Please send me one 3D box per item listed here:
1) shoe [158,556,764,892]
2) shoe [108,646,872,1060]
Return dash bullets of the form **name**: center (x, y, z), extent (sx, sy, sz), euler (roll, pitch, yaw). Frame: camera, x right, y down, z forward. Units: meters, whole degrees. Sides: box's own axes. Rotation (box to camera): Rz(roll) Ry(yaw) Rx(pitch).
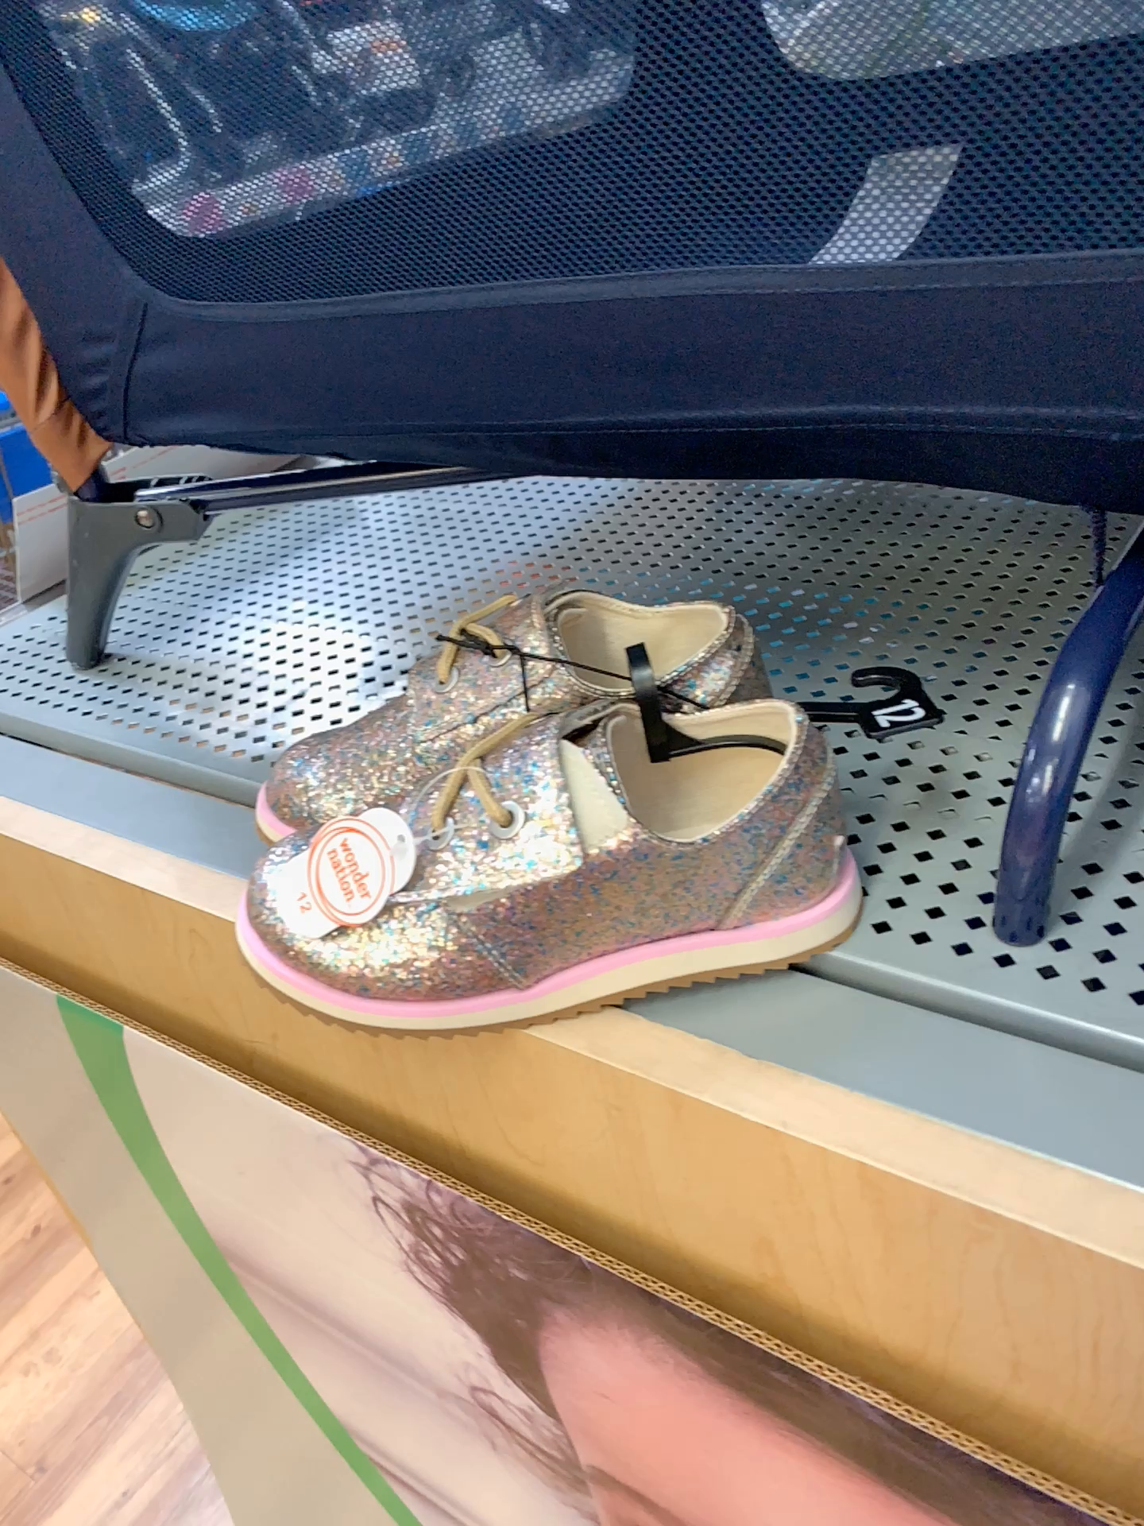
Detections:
- **shoe**: center (-0.034, -0.014, 0.438), extent (0.199, 0.070, 0.084), euler (-6, 33, 10)
- **shoe**: center (-0.021, 0.026, 0.364), extent (0.205, 0.060, 0.086), euler (-8, 33, 6)
